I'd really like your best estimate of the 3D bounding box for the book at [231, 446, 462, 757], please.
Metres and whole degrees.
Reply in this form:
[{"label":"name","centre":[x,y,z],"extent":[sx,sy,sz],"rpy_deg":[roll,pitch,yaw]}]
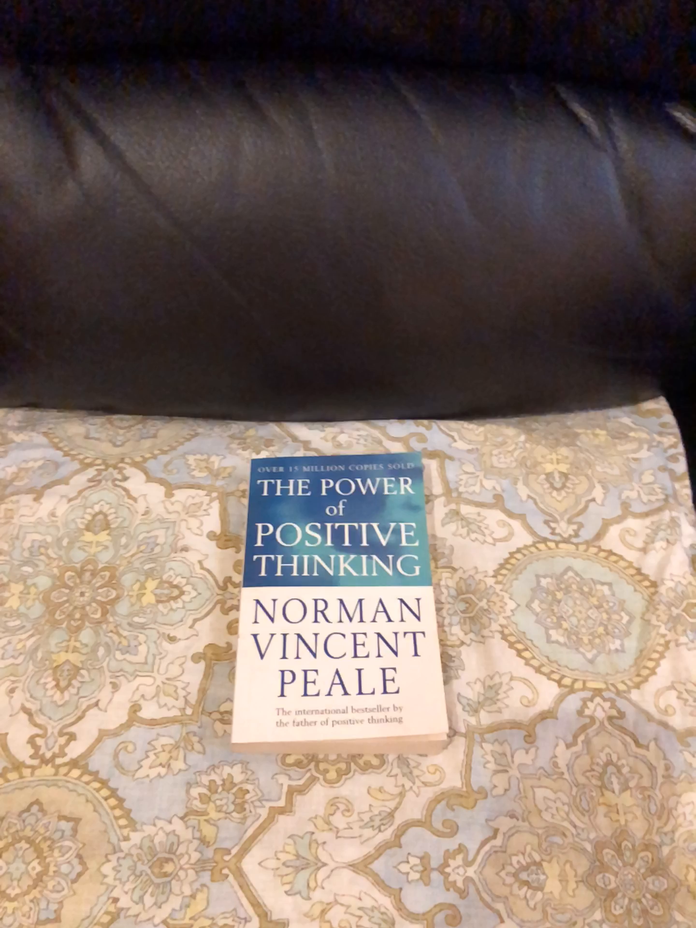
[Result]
[{"label":"book","centre":[-0.005,0.074,0.460],"extent":[0.120,0.030,0.183],"rpy_deg":[-1,57,-3]}]
